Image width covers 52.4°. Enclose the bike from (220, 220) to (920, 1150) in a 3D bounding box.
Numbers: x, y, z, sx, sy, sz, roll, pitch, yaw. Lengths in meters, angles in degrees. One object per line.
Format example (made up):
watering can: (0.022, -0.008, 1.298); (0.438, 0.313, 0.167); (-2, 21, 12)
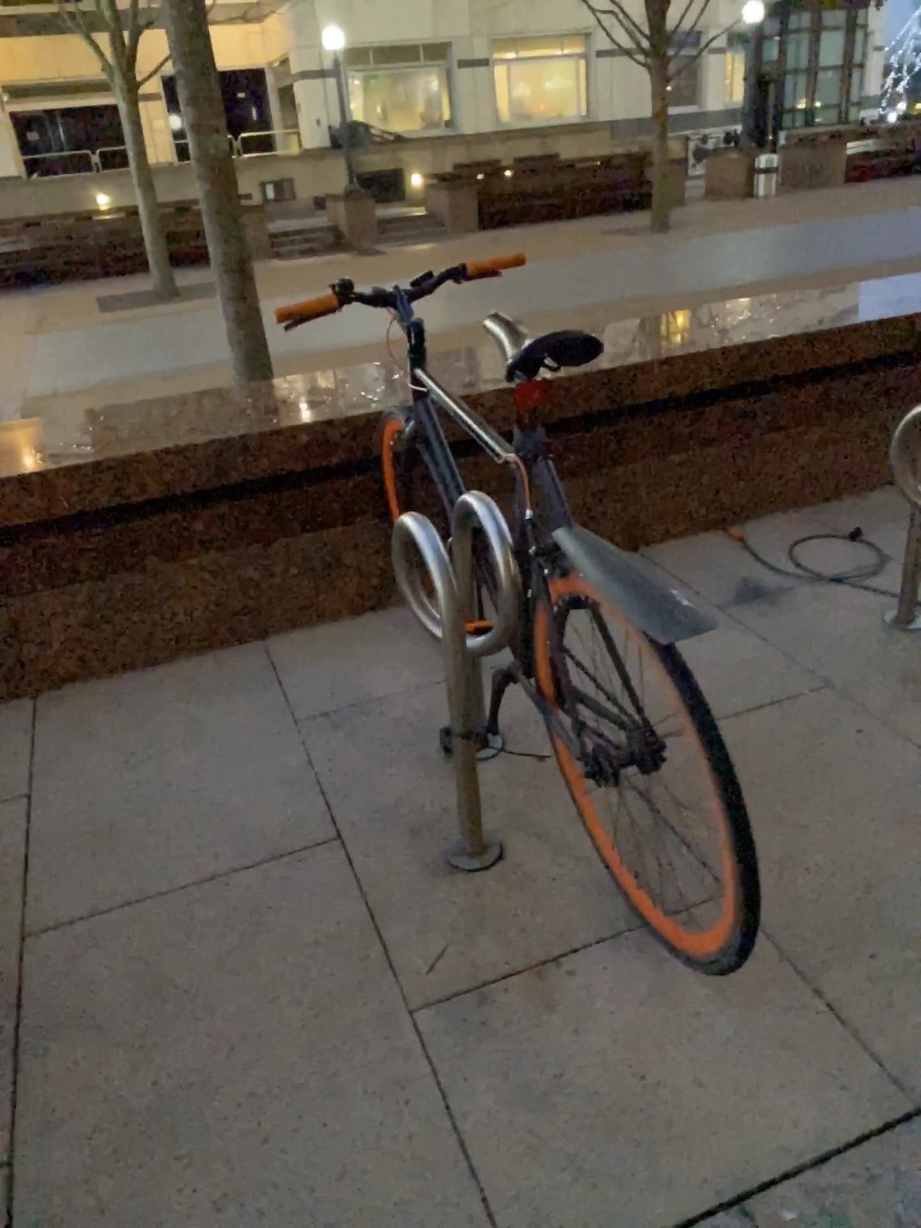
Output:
bike: (0.019, -0.130, 1.795); (0.524, 0.982, 1.647); (-14, 29, -16)
